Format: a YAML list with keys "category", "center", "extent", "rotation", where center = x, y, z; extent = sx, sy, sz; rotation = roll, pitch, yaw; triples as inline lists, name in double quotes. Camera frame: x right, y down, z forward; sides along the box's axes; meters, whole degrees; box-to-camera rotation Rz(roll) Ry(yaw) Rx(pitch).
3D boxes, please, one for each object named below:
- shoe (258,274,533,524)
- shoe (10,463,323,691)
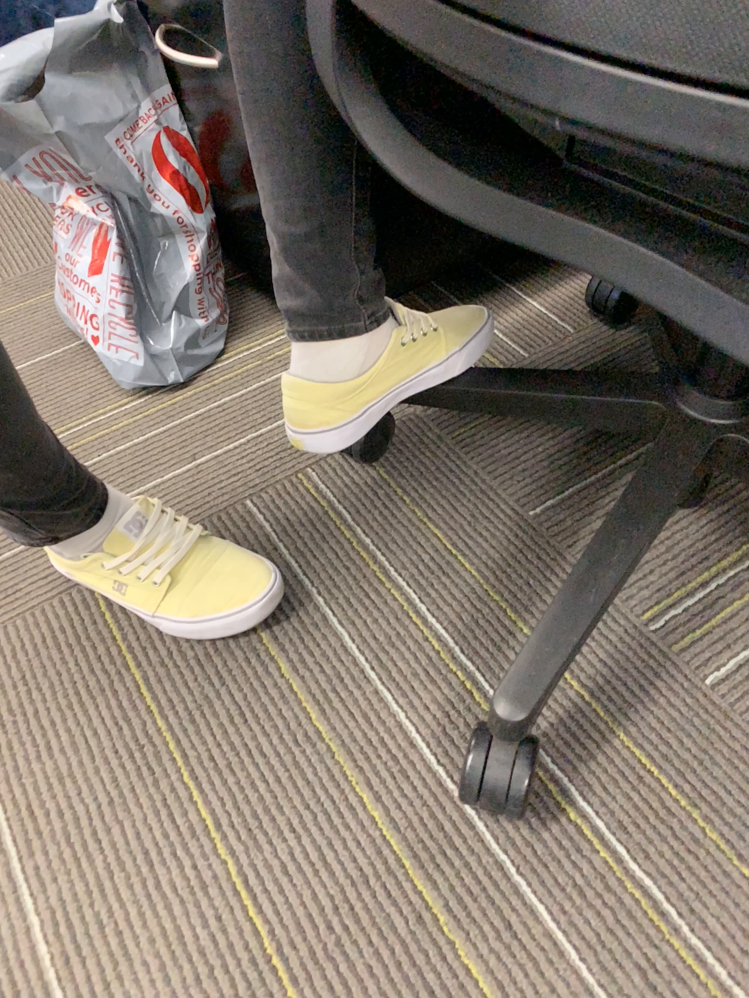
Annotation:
- category: "shoe"
  center: [0.028, -0.105, 0.741]
  extent: [0.260, 0.096, 0.099]
  rotation: [-37, 55, -25]
- category: "shoe"
  center: [-0.197, 0.070, 0.739]
  extent: [0.269, 0.101, 0.102]
  rotation: [17, 52, 20]
